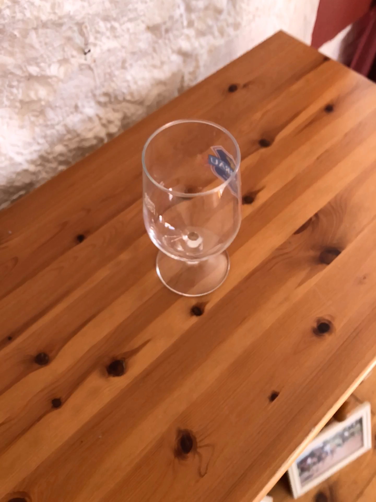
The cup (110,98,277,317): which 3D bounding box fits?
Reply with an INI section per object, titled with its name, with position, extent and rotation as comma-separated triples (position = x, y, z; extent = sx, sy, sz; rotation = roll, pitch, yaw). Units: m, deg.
[cup]
position = 0.004, -0.025, 0.328
extent = 0.077, 0.142, 0.079
rotation = -1, 60, 1
